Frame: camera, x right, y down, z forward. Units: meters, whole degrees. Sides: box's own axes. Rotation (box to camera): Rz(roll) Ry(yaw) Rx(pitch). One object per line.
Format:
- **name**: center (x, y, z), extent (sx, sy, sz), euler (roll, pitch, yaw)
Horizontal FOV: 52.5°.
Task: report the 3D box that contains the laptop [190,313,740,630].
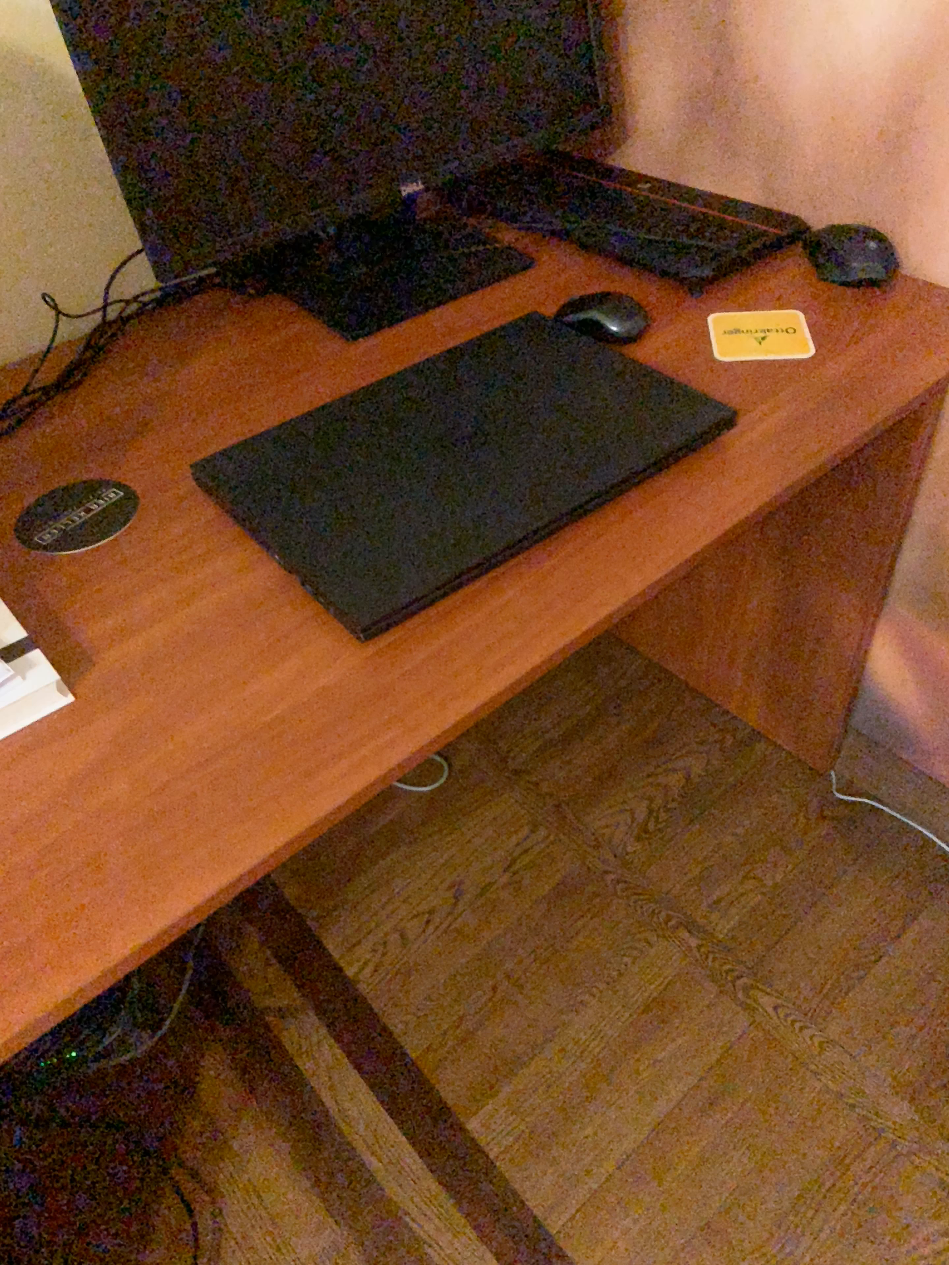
- **laptop**: center (-0.008, -0.148, 0.737), extent (0.352, 0.001, 0.248), euler (-31, 48, -24)
